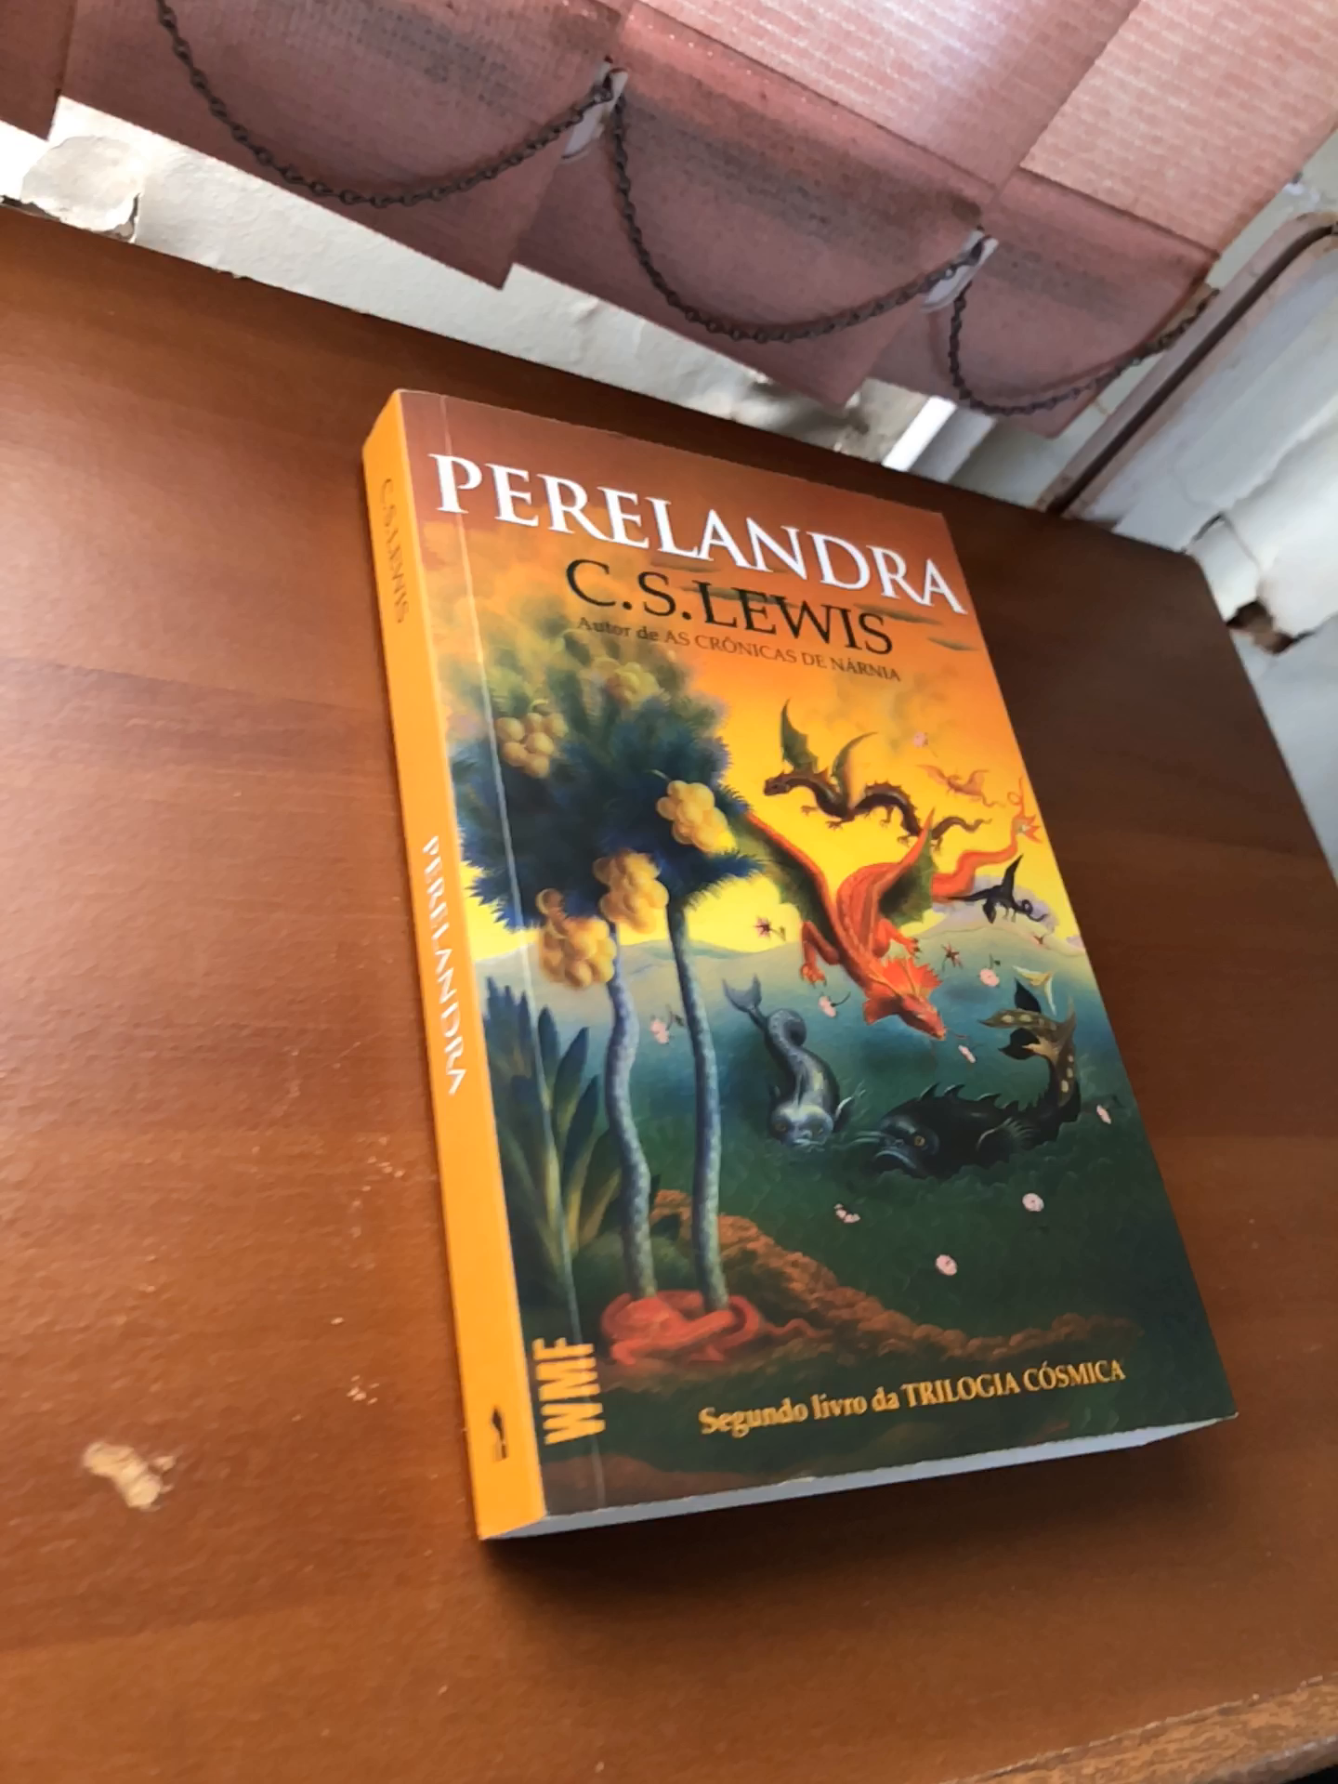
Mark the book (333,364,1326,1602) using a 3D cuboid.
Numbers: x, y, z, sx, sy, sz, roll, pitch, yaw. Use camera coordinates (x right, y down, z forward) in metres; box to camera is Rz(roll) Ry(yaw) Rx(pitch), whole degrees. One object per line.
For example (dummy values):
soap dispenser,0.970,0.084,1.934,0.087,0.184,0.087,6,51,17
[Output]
book,0.019,0.004,0.252,0.131,0.030,0.191,4,58,-29
